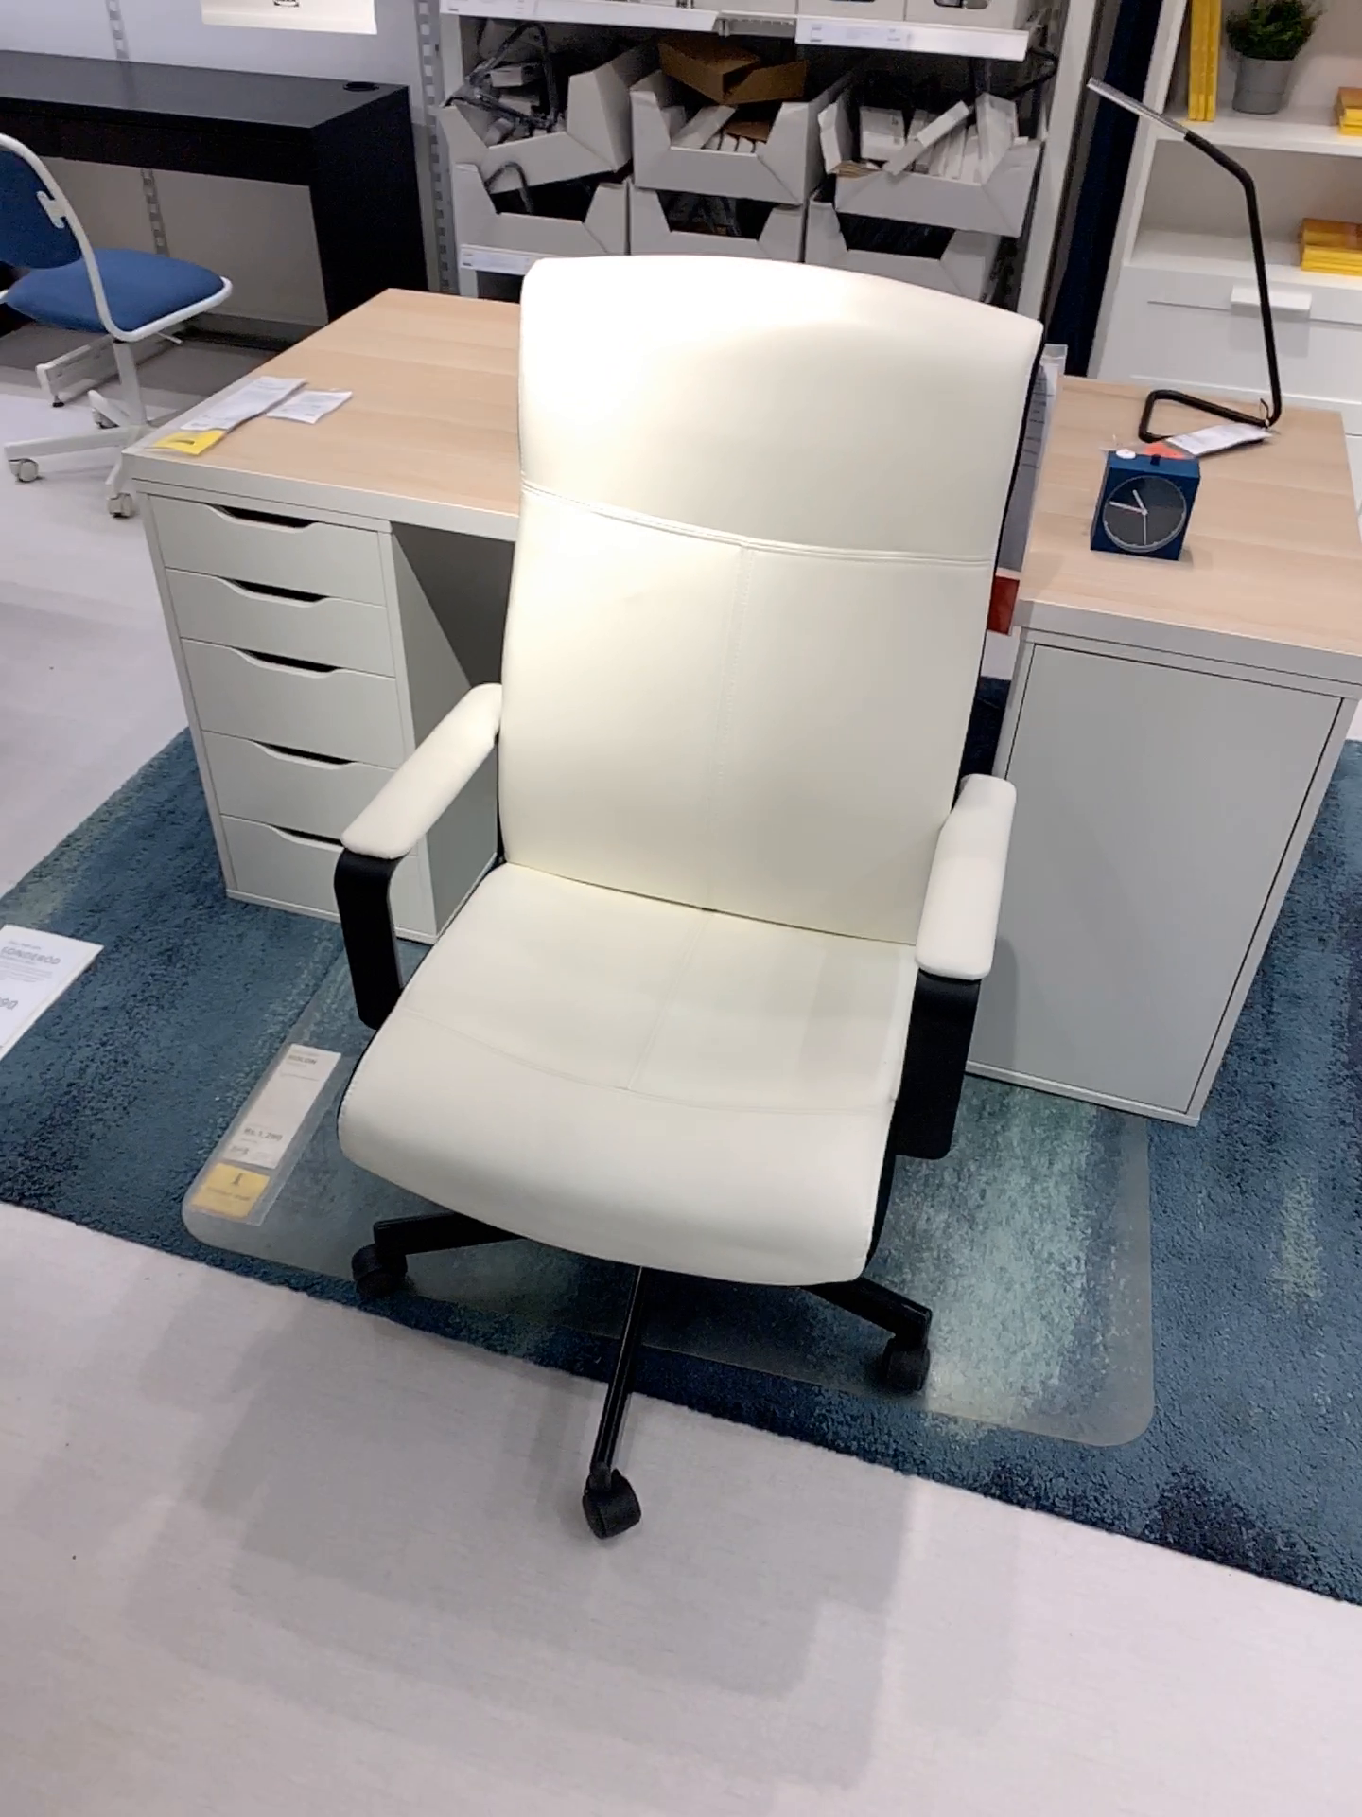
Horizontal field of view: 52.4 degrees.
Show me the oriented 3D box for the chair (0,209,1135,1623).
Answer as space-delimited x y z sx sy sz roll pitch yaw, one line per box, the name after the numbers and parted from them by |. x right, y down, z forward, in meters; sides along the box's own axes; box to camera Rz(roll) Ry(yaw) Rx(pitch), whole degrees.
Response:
-0.062 -0.008 1.276 0.690 0.956 0.703 12 41 12 | chair
